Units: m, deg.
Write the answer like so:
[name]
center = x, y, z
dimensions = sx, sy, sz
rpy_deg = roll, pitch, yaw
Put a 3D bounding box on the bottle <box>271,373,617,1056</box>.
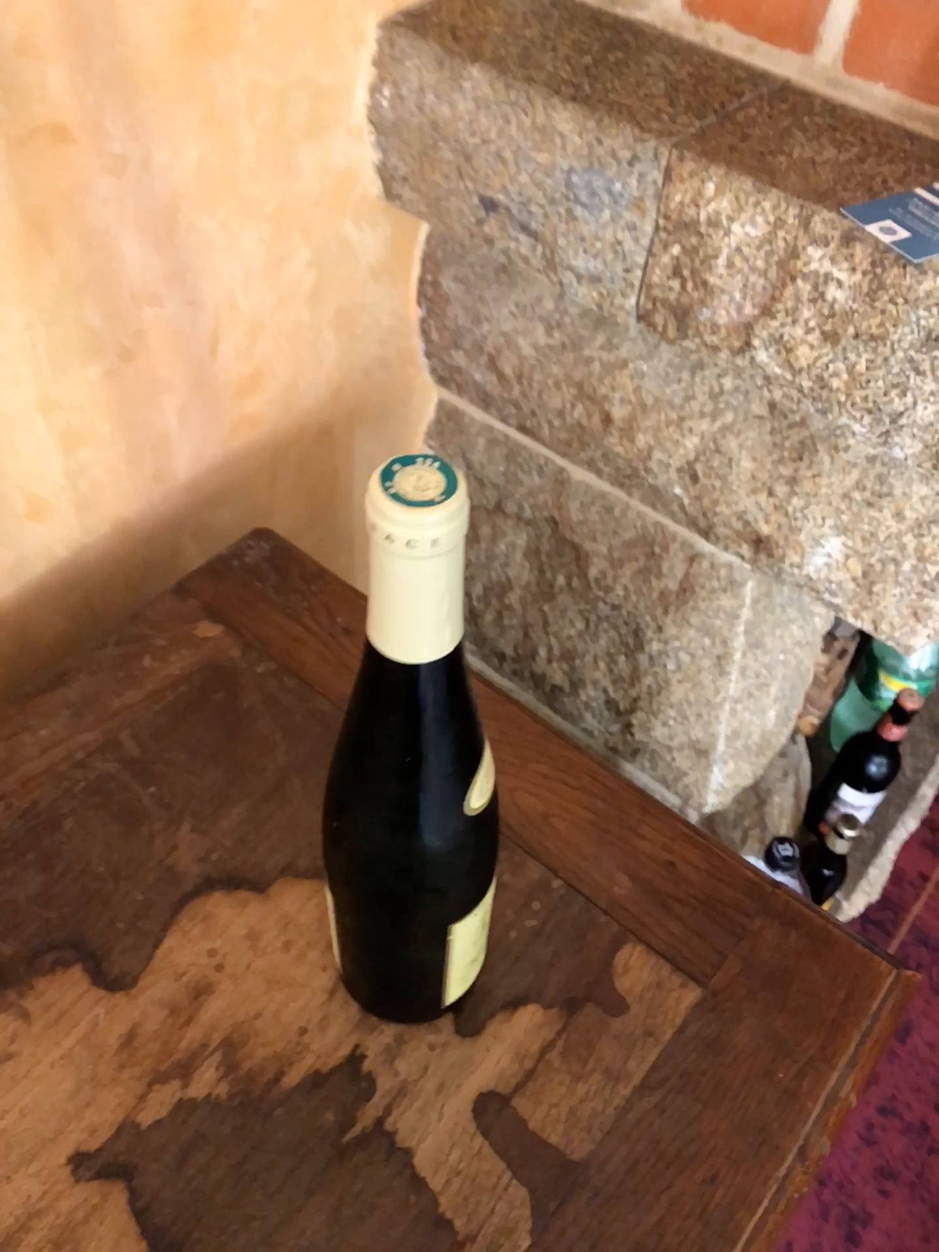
[bottle]
center = -0.016, 0.064, 0.405
dimensions = 0.080, 0.318, 0.081
rpy_deg = 3, 49, -3
